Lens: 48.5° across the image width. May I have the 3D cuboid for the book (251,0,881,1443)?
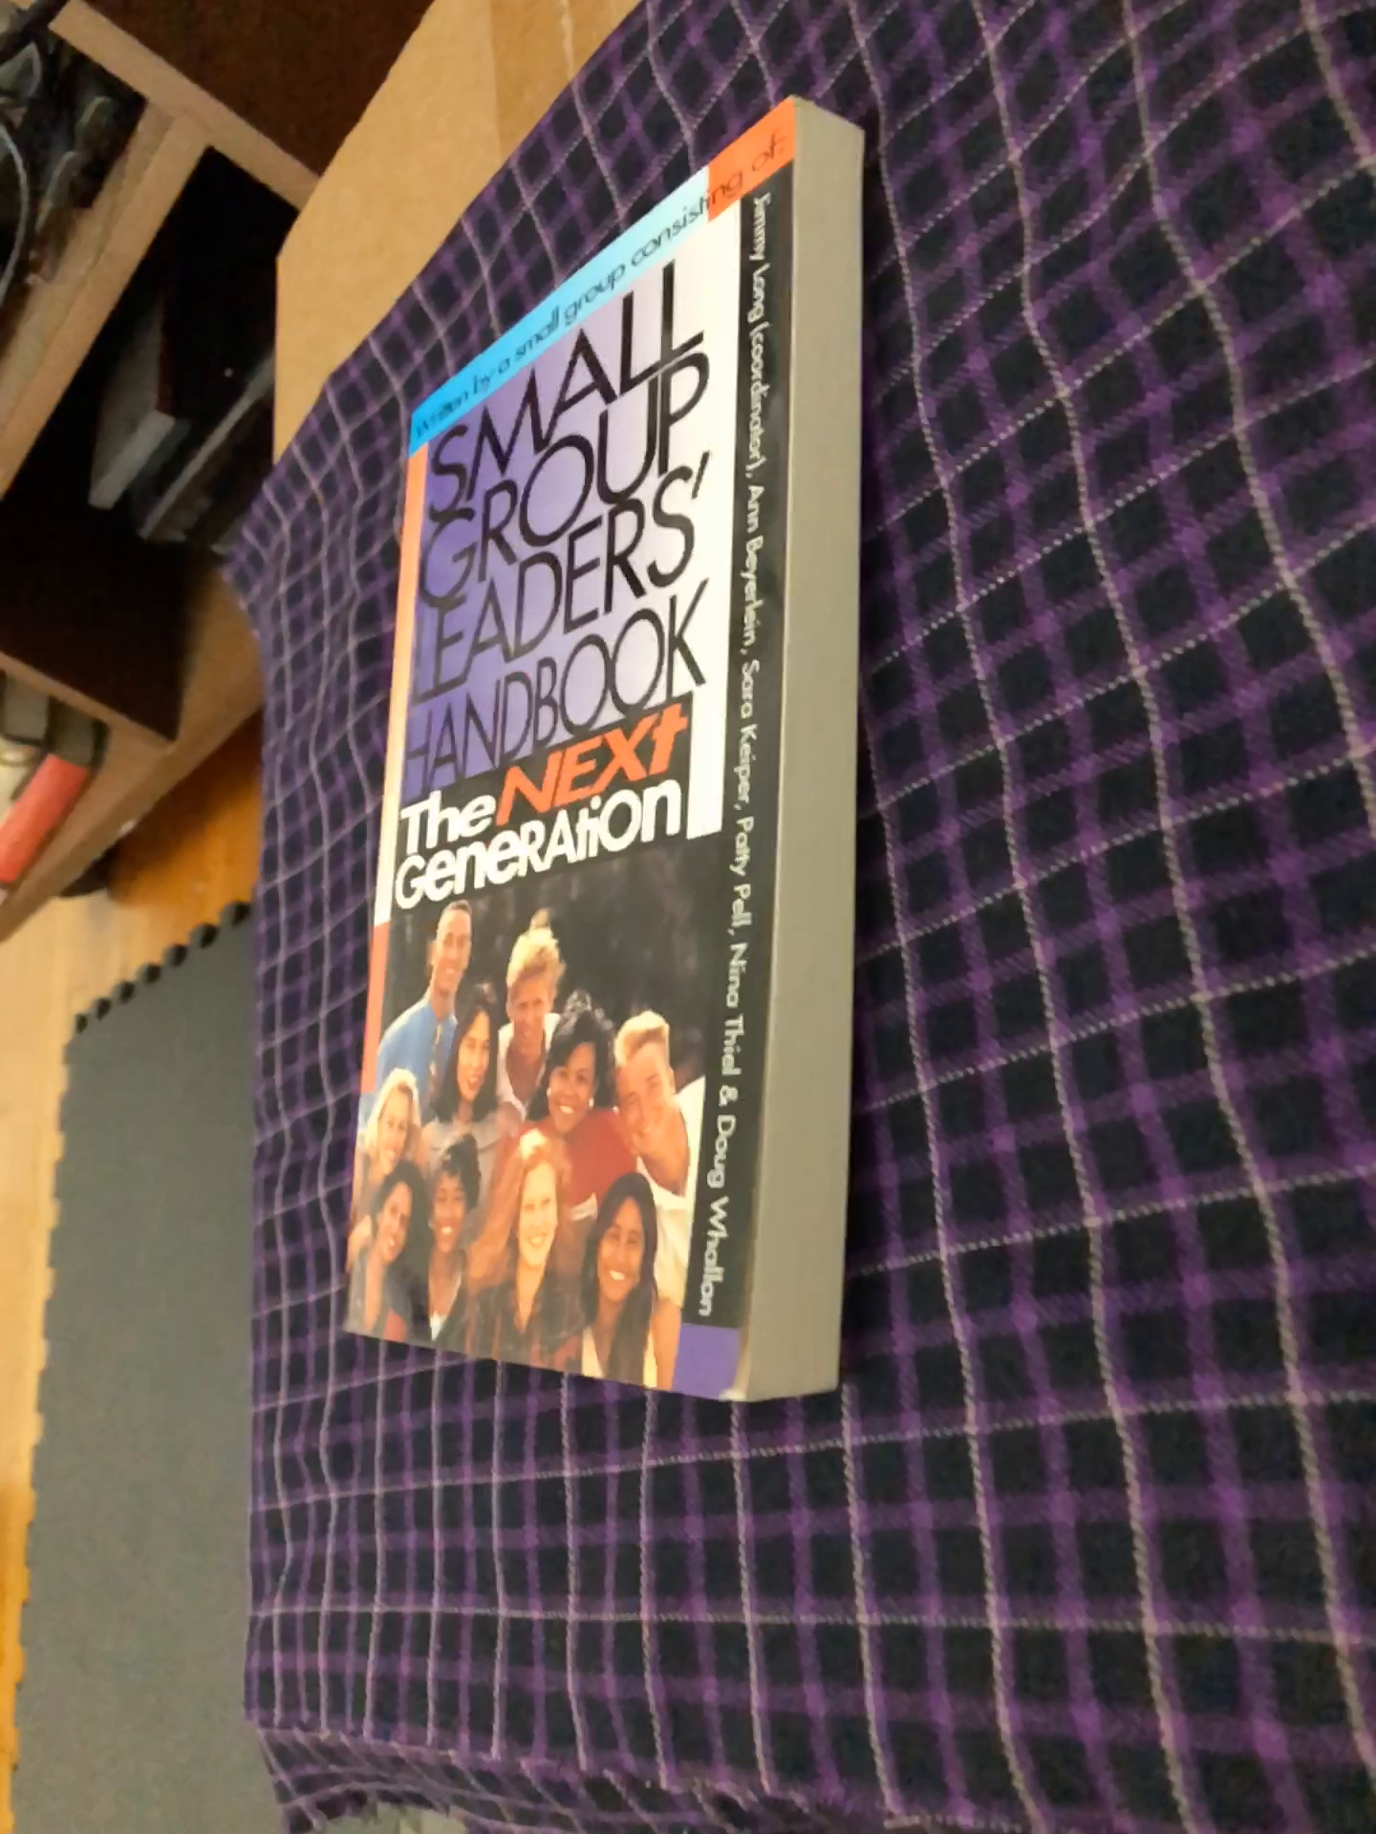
[{"bbox_3d":[-0.028,-0.028,0.284,0.151,0.030,0.220,-13,71,51],"label":"book"}]
